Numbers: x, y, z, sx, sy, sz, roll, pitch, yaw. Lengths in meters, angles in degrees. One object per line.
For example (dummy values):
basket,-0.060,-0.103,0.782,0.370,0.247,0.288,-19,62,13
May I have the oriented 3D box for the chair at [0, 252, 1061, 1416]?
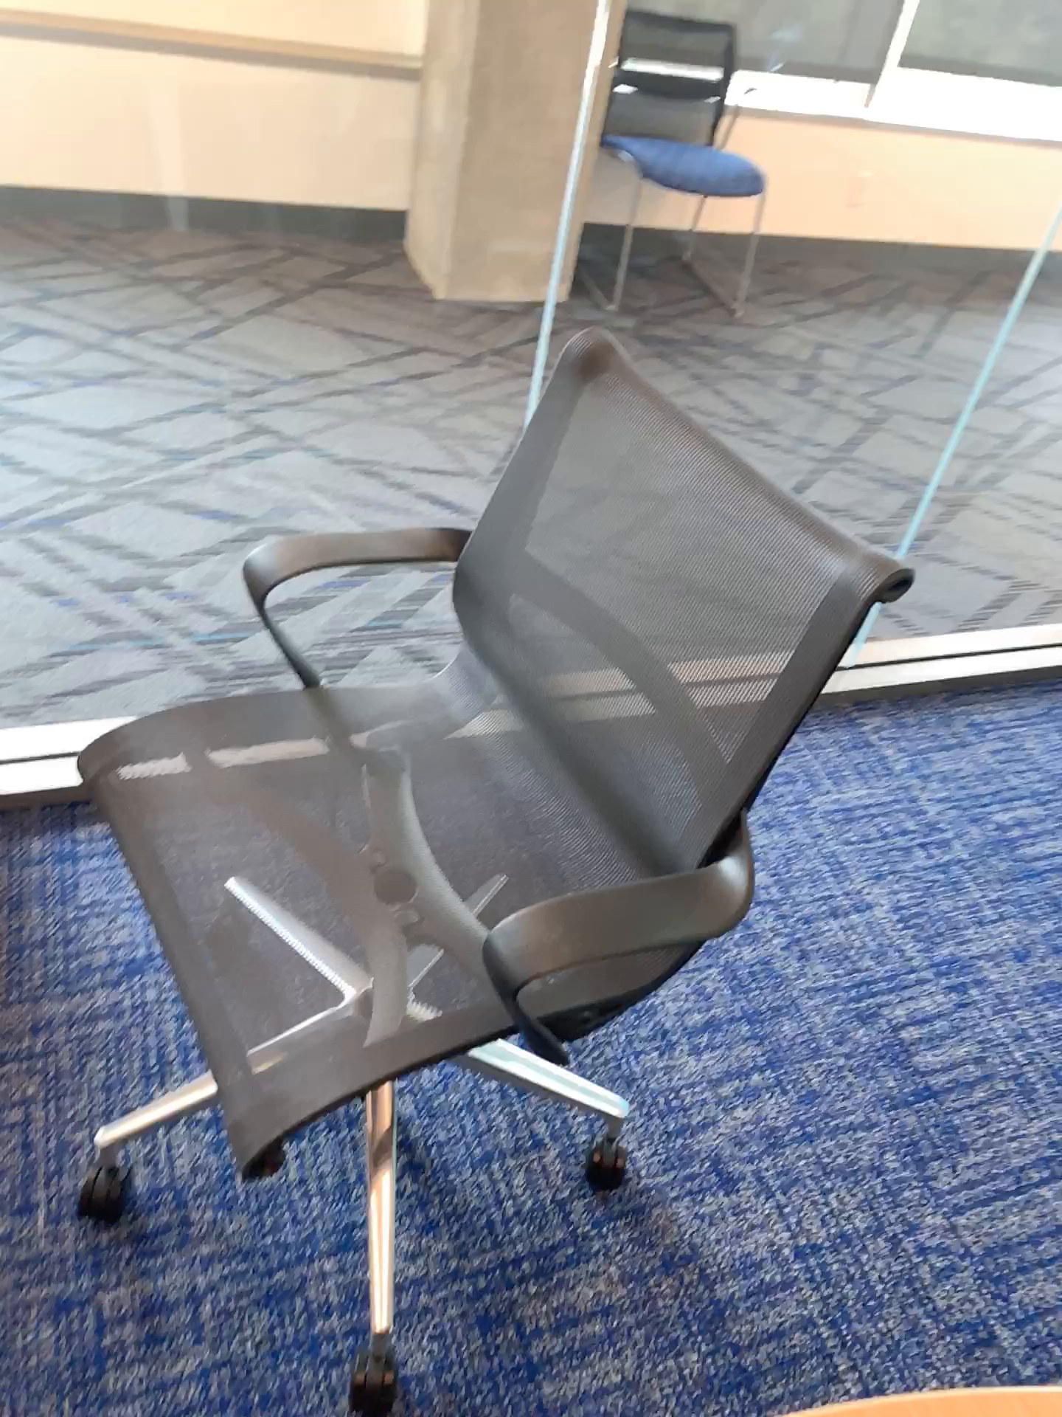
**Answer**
chair,-0.158,0.117,0.970,0.642,0.773,0.664,-16,47,-30
